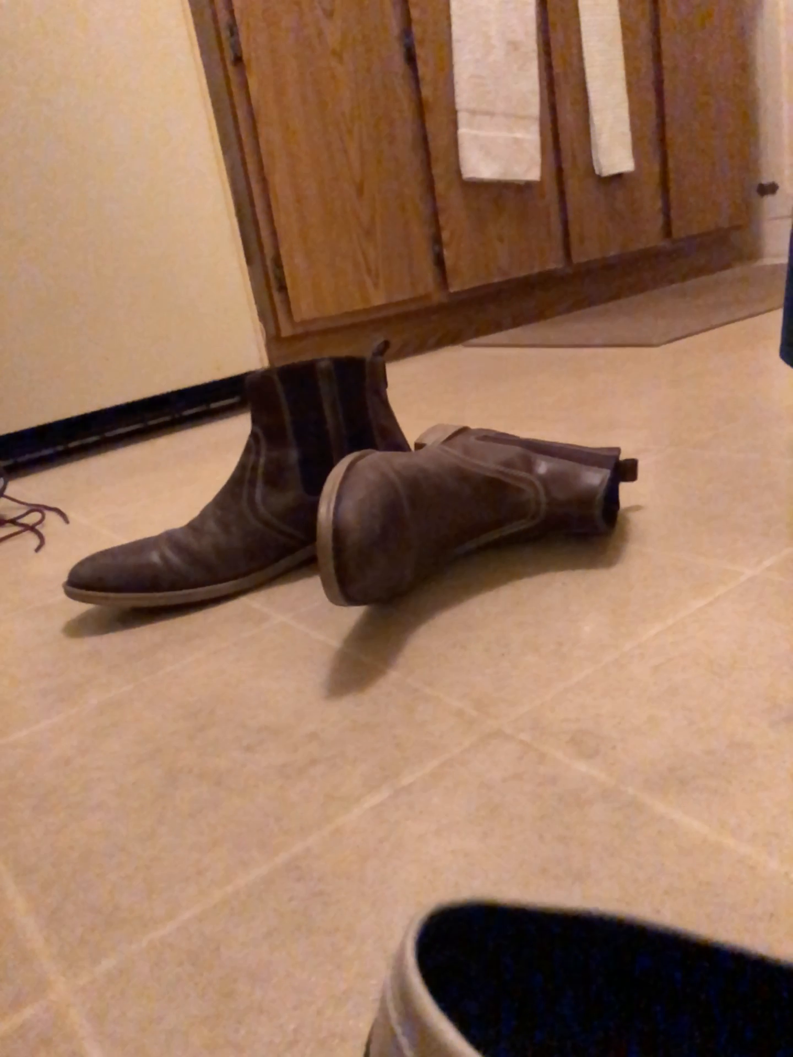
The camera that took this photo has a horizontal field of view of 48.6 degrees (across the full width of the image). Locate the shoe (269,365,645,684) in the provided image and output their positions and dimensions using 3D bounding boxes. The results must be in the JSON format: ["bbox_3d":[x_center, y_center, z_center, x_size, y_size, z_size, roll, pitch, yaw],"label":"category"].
[{"bbox_3d":[0.068,-0.024,0.620,0.161,0.111,0.314,0,21,24],"label":"shoe"}]

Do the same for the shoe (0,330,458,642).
[{"bbox_3d":[-0.127,-0.046,0.703,0.313,0.161,0.112,-15,18,-13],"label":"shoe"}]
